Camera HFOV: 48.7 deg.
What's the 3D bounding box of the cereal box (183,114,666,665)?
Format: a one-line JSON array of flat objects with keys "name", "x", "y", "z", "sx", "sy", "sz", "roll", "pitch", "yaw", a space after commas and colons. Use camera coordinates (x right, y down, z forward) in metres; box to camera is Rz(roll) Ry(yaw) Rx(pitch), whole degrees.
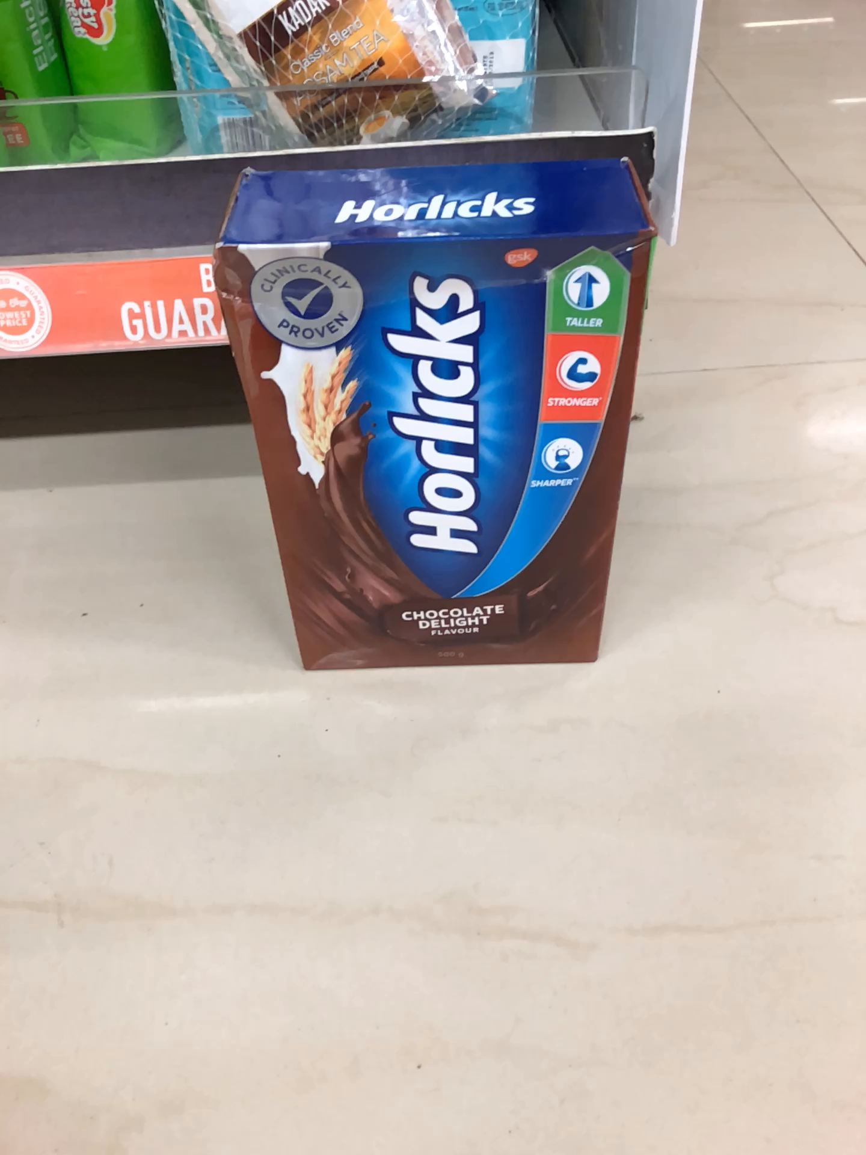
[{"name": "cereal box", "x": 0.001, "y": -0.058, "z": 0.373, "sx": 0.140, "sy": 0.209, "sz": 0.060, "roll": -2, "pitch": 45, "yaw": 1}]
